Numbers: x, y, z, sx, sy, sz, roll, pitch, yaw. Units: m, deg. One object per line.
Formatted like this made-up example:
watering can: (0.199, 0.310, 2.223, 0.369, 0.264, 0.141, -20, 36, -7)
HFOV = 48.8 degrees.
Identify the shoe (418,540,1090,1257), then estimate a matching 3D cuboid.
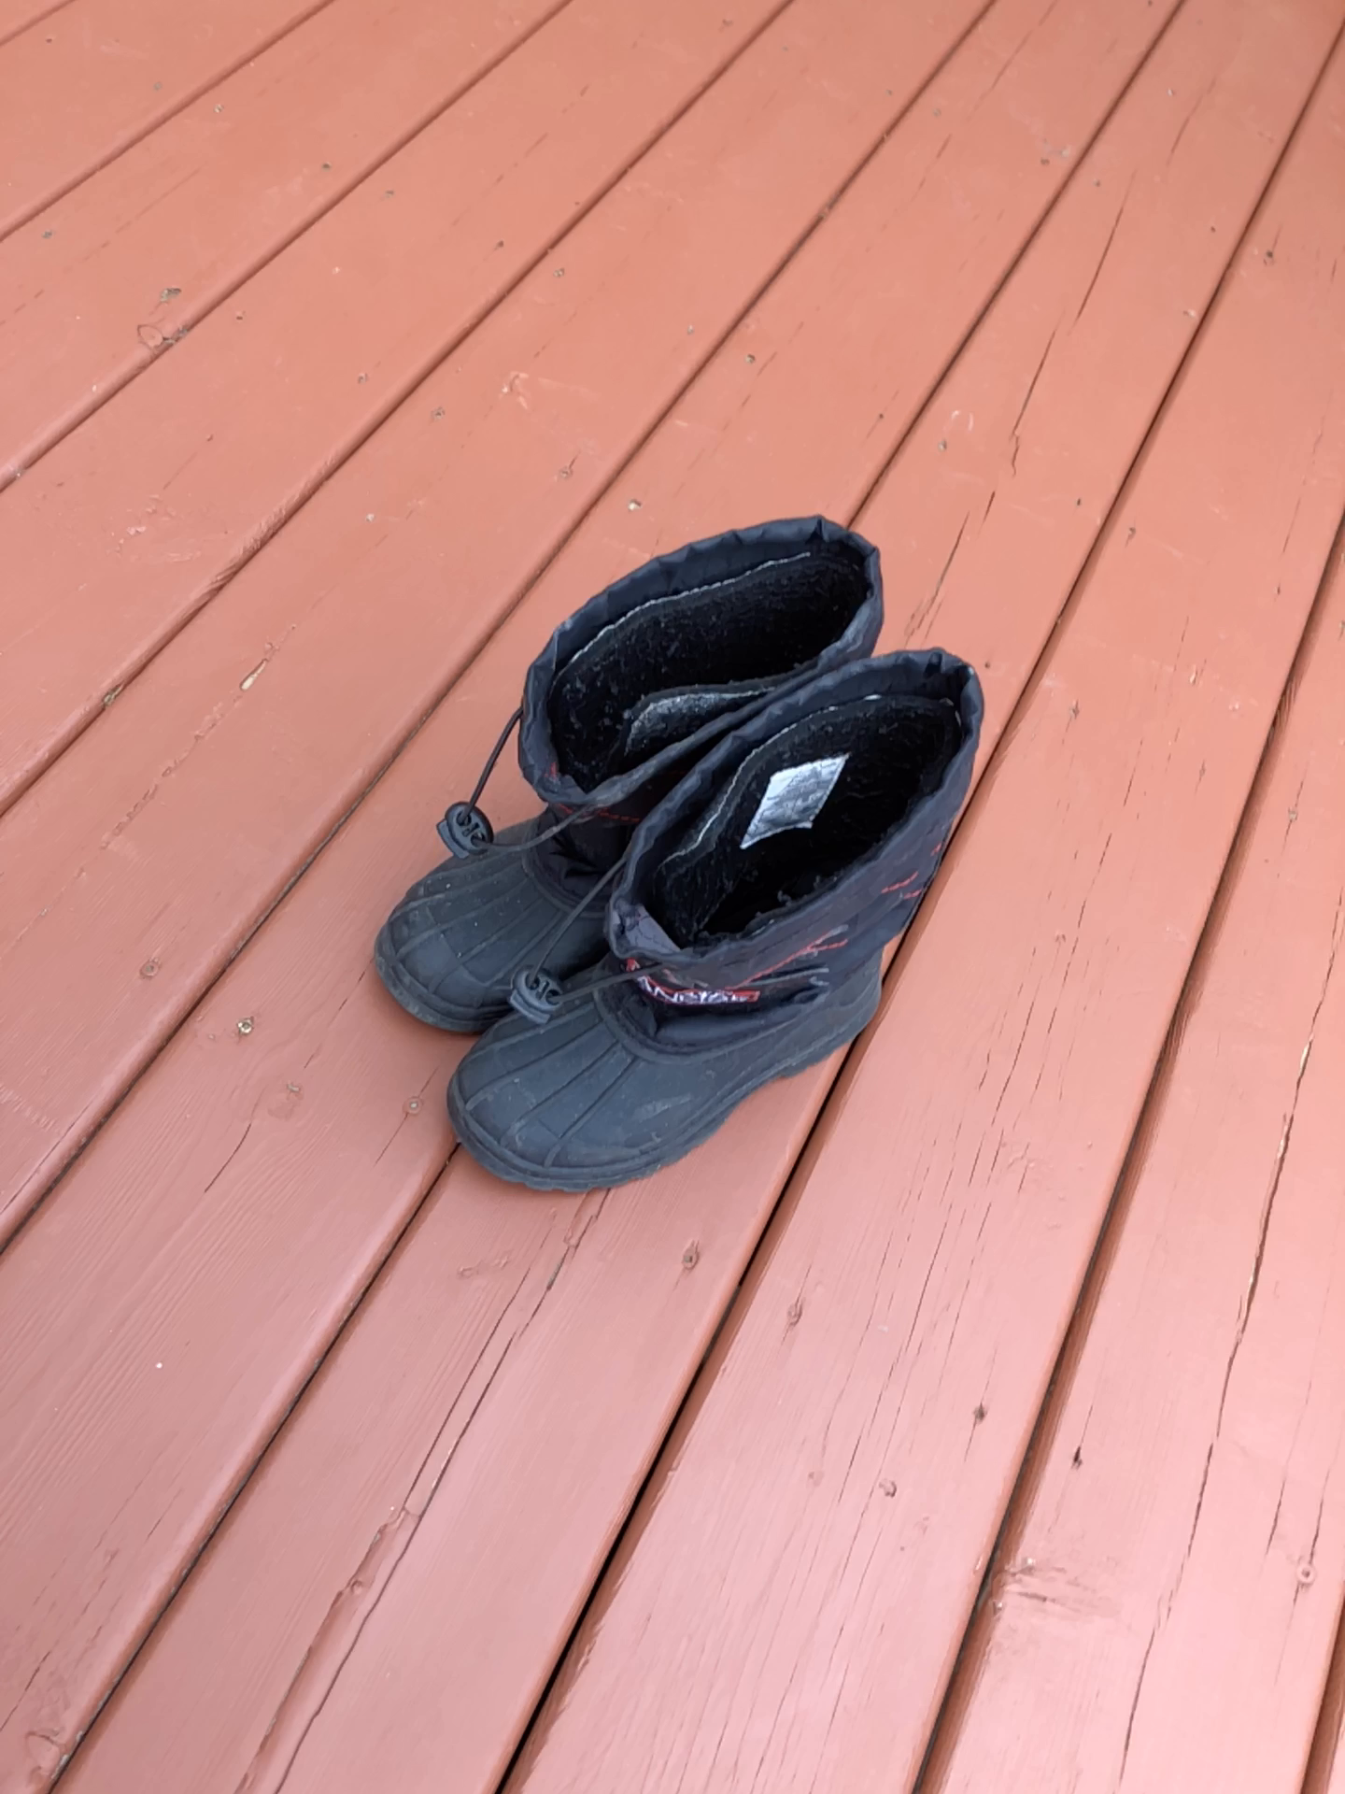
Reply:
shoe: (0.017, 0.009, 0.589, 0.210, 0.230, 0.100, -29, 67, -24)

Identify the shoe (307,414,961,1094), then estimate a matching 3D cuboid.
shoe: (-0.025, -0.051, 0.618, 0.210, 0.230, 0.100, -24, 65, -22)
